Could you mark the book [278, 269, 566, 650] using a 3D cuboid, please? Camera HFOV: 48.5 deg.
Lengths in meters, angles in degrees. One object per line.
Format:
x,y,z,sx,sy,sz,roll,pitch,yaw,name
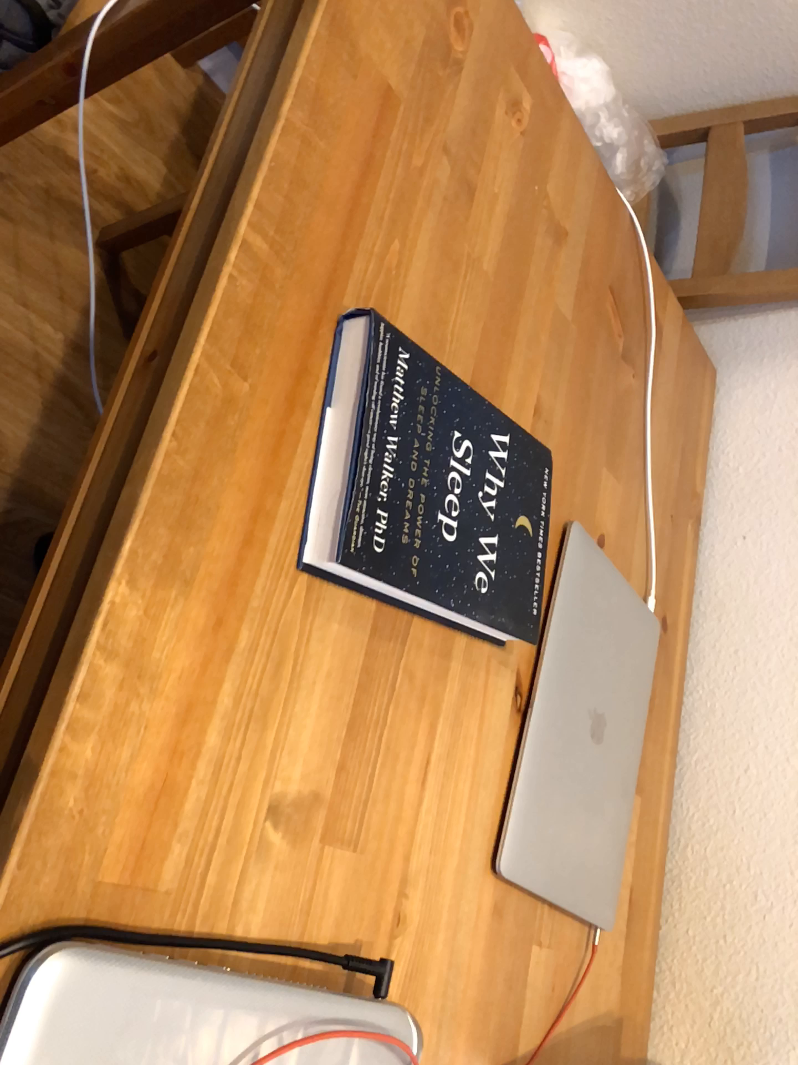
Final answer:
0.032,-0.031,0.578,0.242,0.040,0.170,26,66,-50,book
